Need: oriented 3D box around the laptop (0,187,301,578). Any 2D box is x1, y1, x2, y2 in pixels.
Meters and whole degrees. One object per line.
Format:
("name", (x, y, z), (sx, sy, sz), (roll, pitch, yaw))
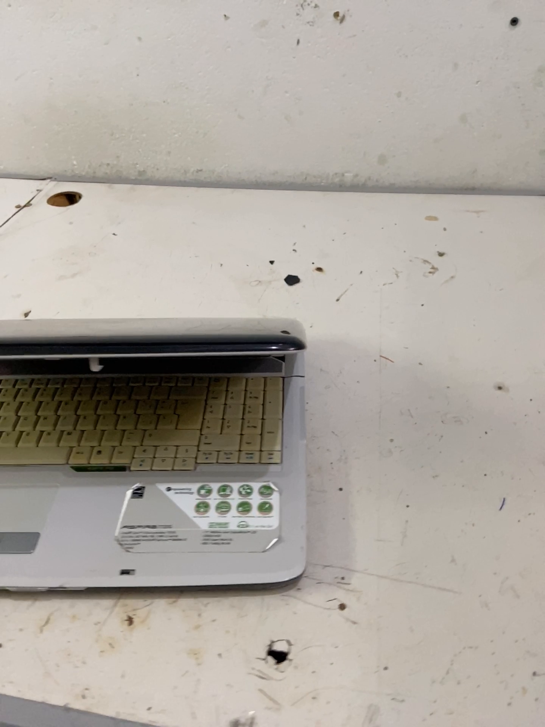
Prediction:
("laptop", (-0.168, 0.003, 0.460), (0.380, 0.164, 0.279), (-1, 41, 4))
